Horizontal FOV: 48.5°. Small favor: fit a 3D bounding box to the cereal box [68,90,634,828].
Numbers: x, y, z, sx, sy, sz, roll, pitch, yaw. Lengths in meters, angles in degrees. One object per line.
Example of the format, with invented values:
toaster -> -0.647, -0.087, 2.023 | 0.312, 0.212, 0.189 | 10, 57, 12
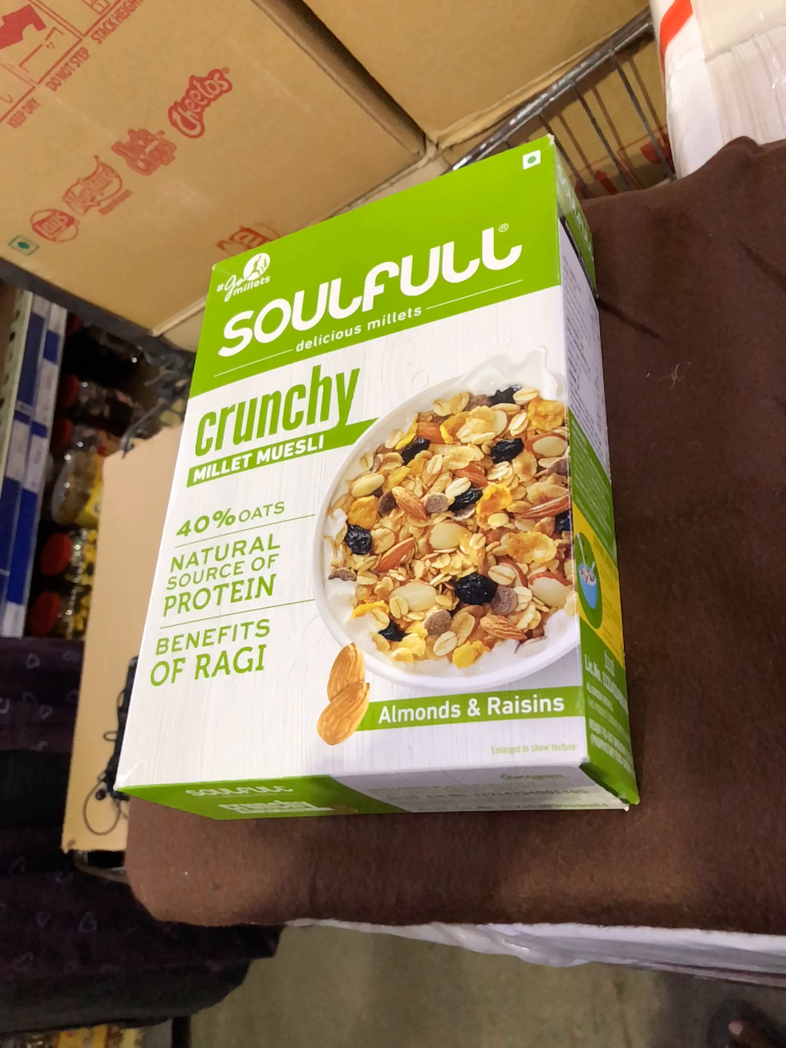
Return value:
cereal box -> -0.010, -0.024, 0.317 | 0.160, 0.060, 0.241 | -13, 56, 28
